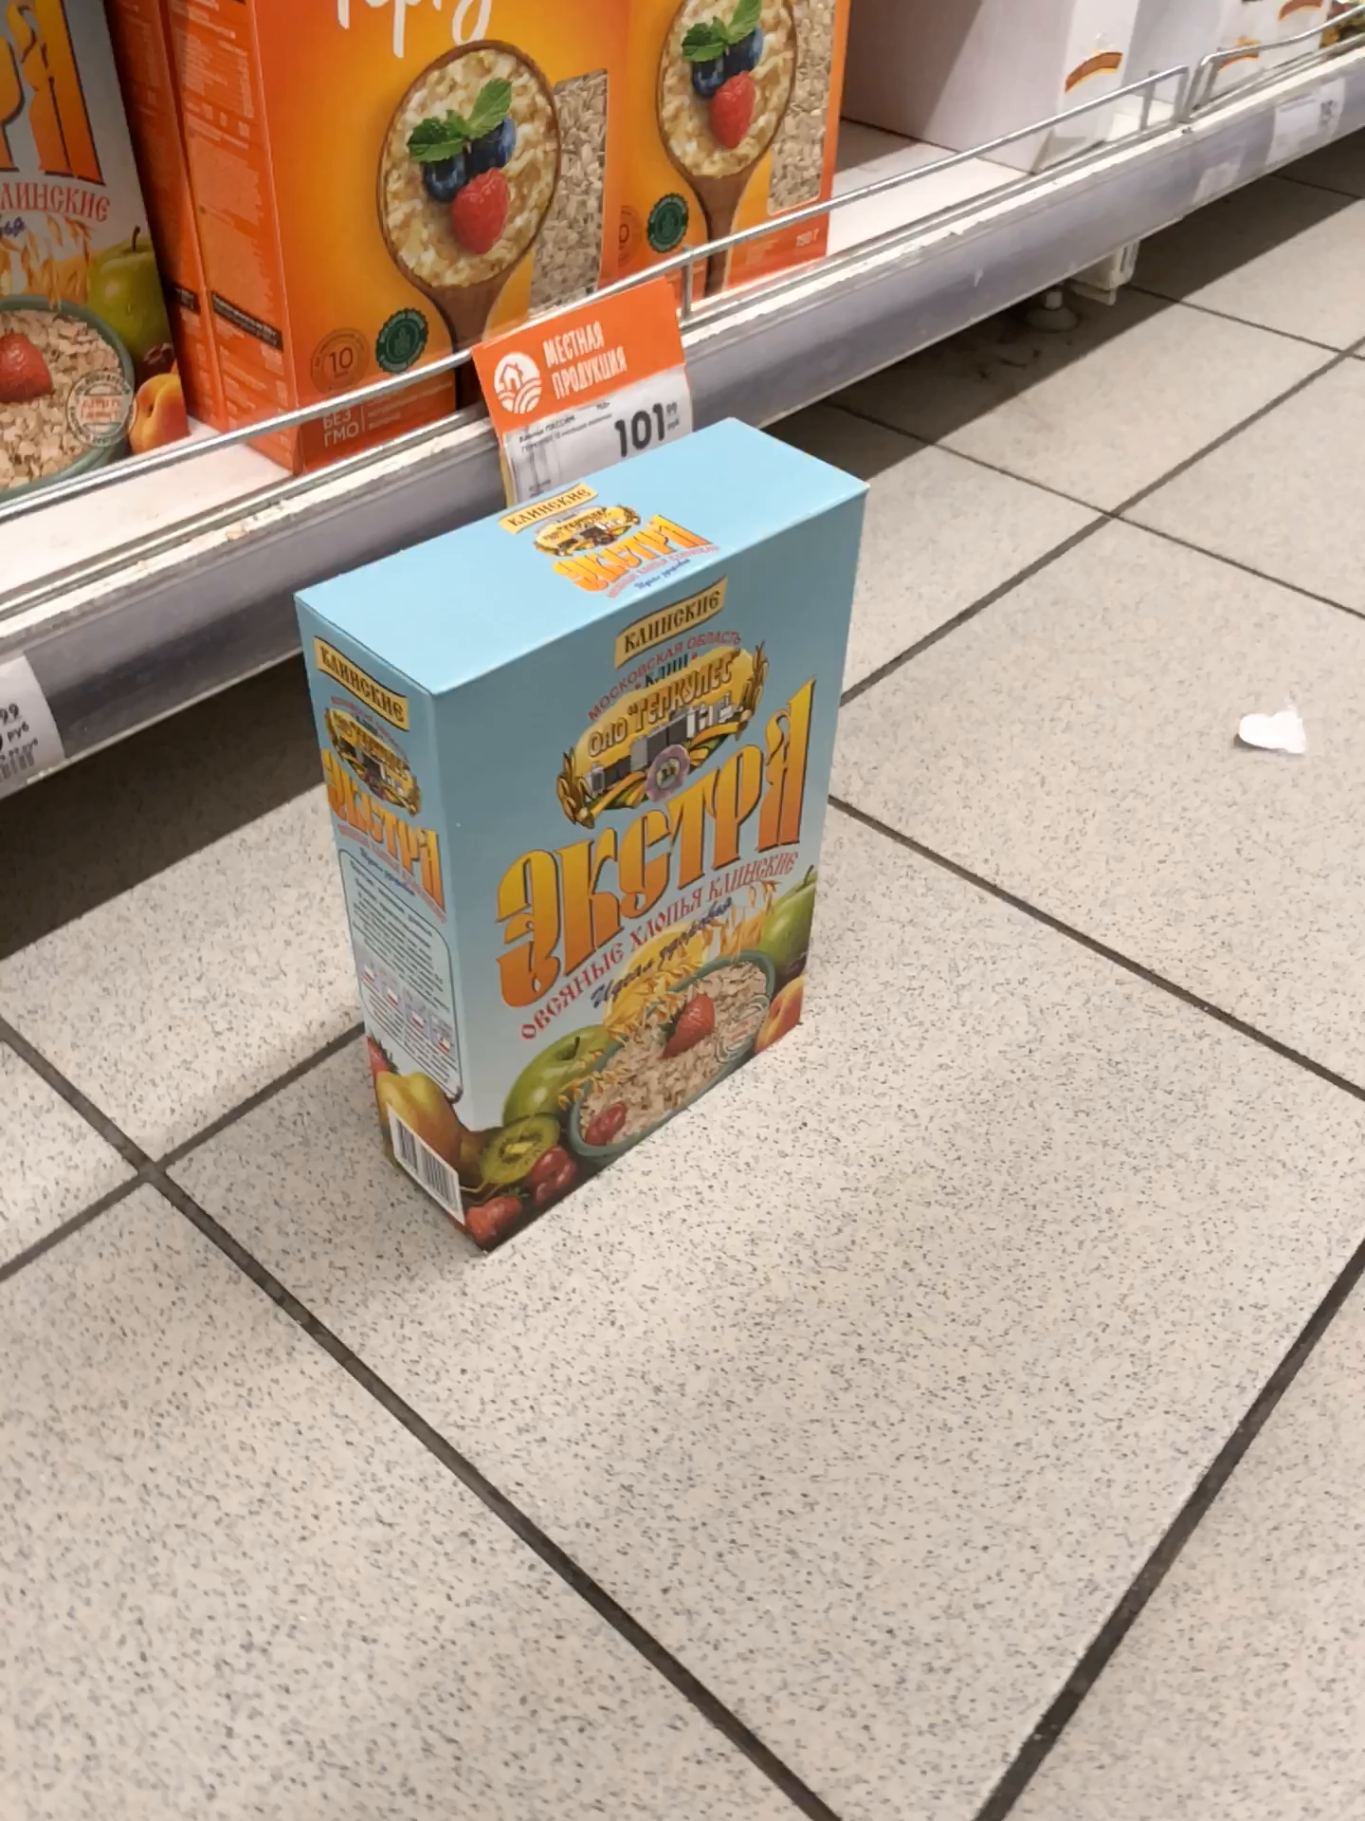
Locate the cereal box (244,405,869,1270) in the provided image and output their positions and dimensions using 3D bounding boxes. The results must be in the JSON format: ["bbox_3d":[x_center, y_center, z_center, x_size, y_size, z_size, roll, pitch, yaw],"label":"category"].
[{"bbox_3d":[-0.029,-0.017,0.443,0.150,0.209,0.060,-32,53,-31],"label":"cereal box"}]
